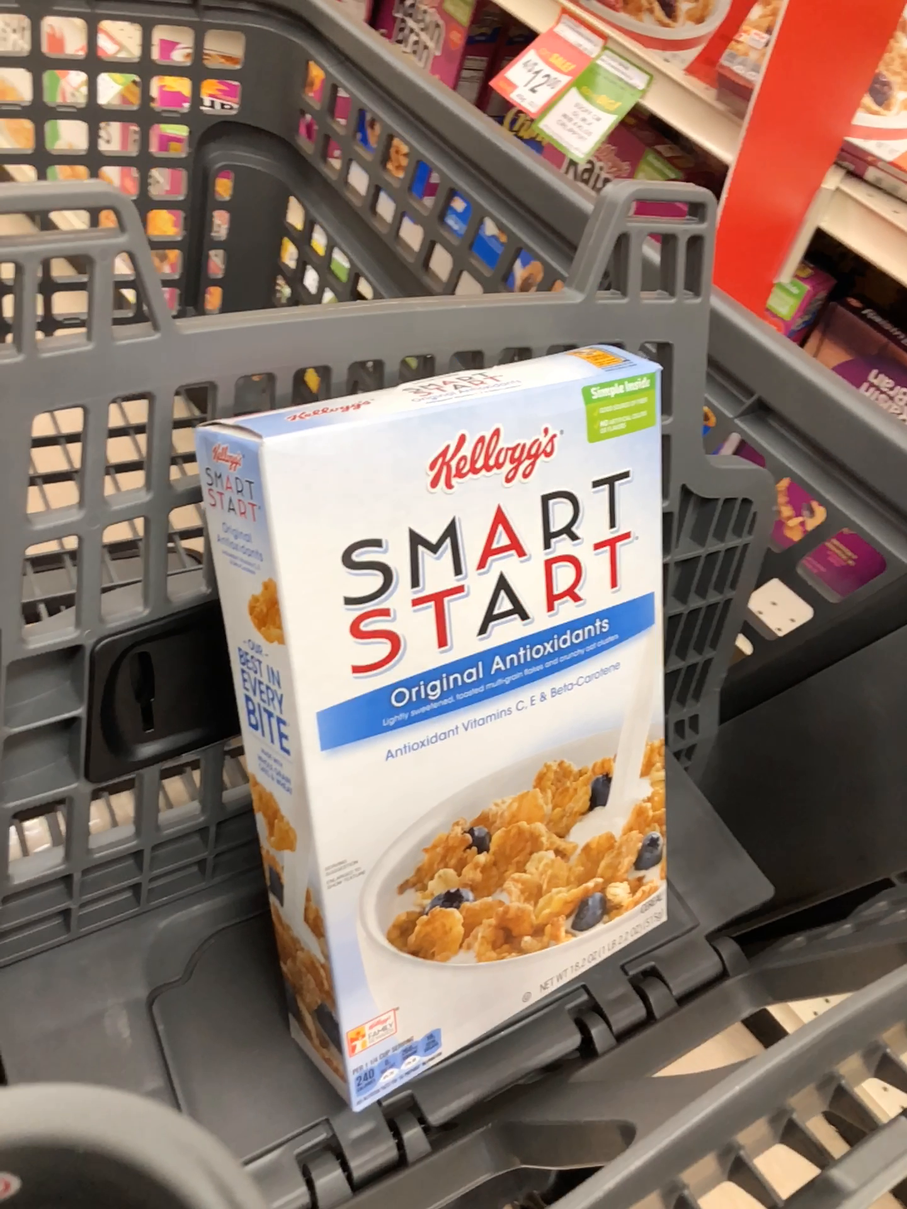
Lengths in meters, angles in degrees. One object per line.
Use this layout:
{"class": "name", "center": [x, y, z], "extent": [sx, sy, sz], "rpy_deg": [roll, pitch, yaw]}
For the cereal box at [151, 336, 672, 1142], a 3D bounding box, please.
{"class": "cereal box", "center": [0.001, 0.048, 0.444], "extent": [0.200, 0.300, 0.070], "rpy_deg": [-18, 24, -33]}
